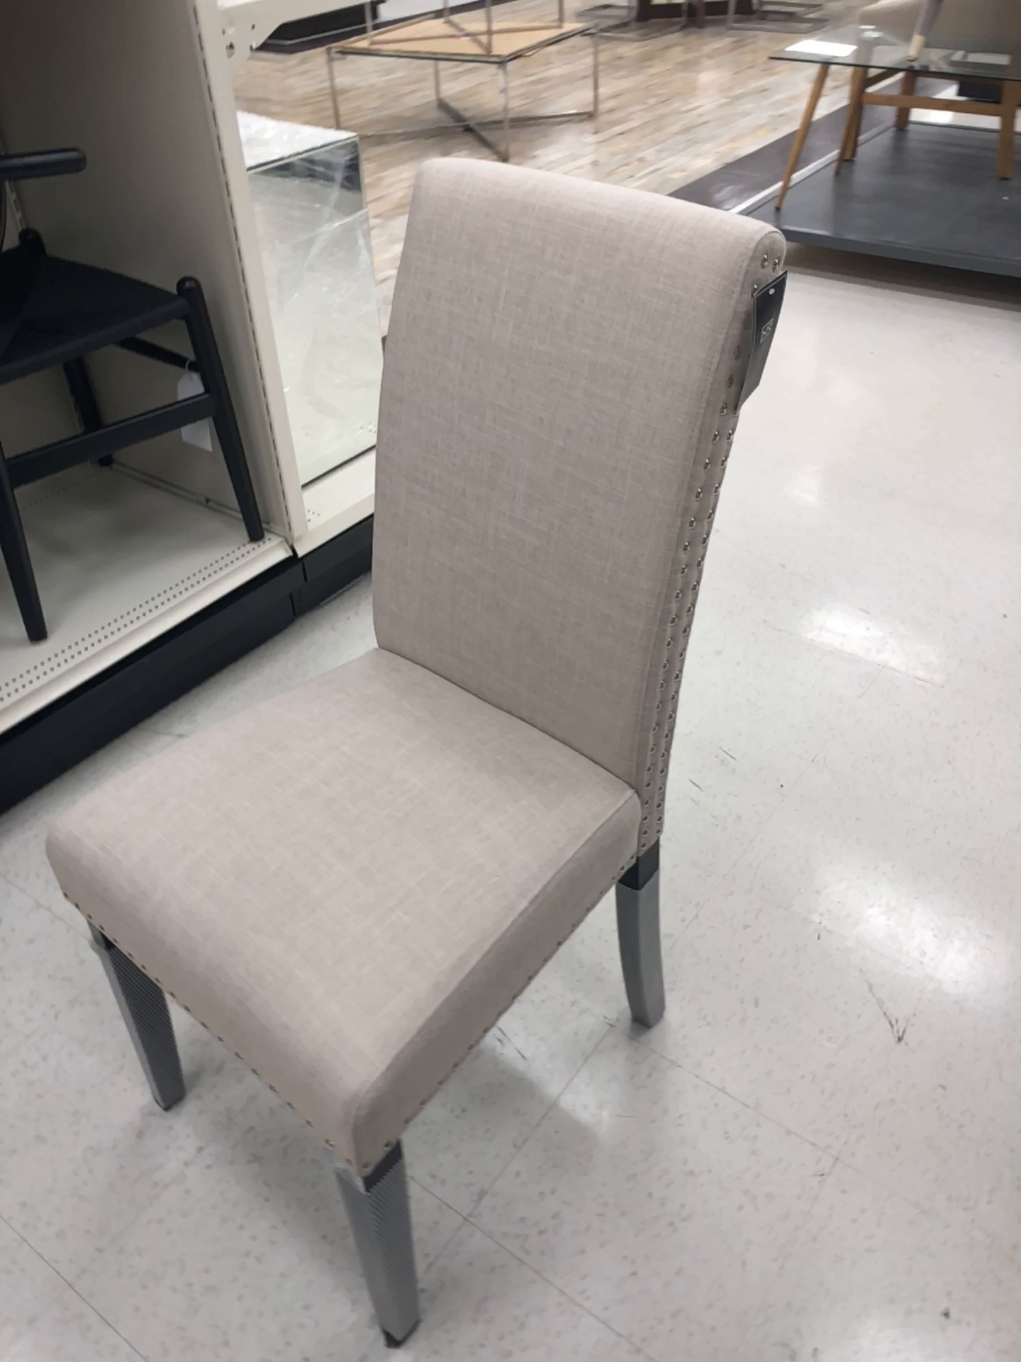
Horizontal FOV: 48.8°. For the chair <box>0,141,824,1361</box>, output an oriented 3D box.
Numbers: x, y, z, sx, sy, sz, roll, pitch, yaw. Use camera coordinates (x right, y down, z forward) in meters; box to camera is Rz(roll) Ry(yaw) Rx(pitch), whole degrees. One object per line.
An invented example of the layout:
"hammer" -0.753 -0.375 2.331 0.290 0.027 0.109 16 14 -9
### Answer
"chair" -0.113 0.090 1.129 0.488 1.006 0.558 28 47 34
